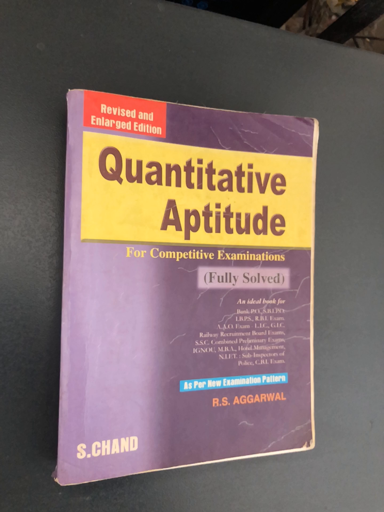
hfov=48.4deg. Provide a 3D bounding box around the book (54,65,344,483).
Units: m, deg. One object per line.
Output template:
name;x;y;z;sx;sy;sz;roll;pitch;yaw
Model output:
book;0.009;0.010;0.280;0.180;0.050;0.220;2;86;-21
